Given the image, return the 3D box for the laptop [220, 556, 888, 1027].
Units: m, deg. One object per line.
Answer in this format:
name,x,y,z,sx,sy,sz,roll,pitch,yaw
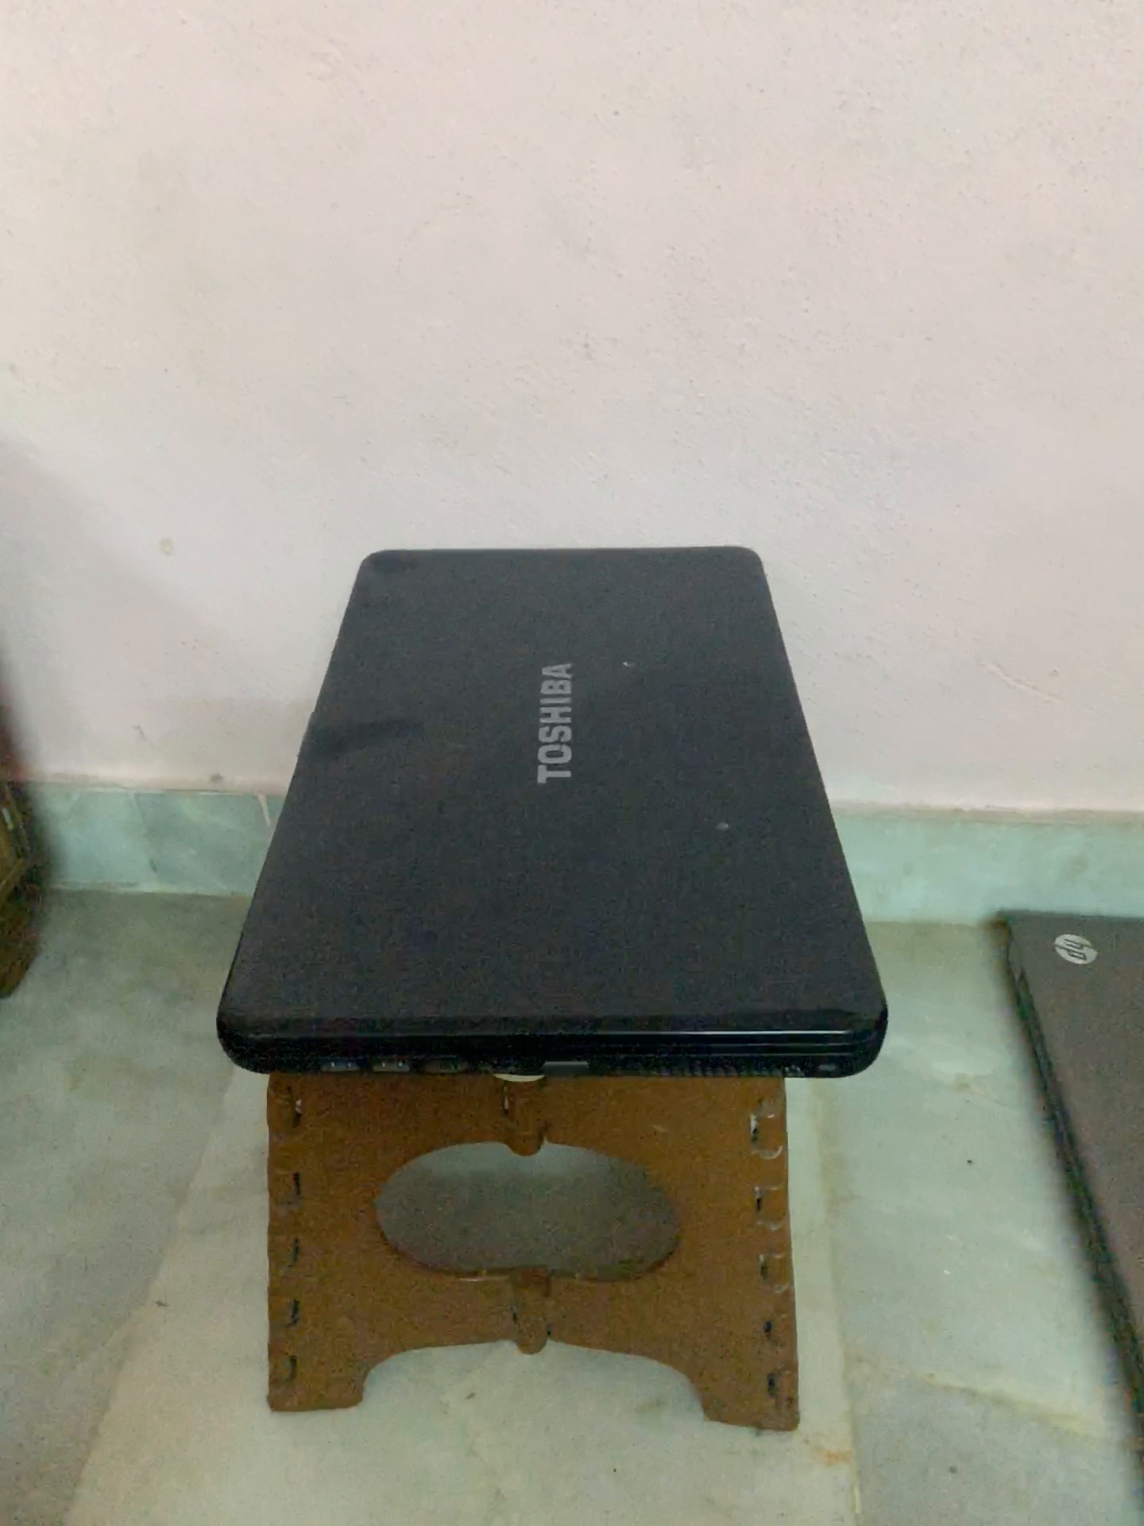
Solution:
laptop,-0.007,-0.017,0.562,0.236,0.001,0.370,0,36,1
